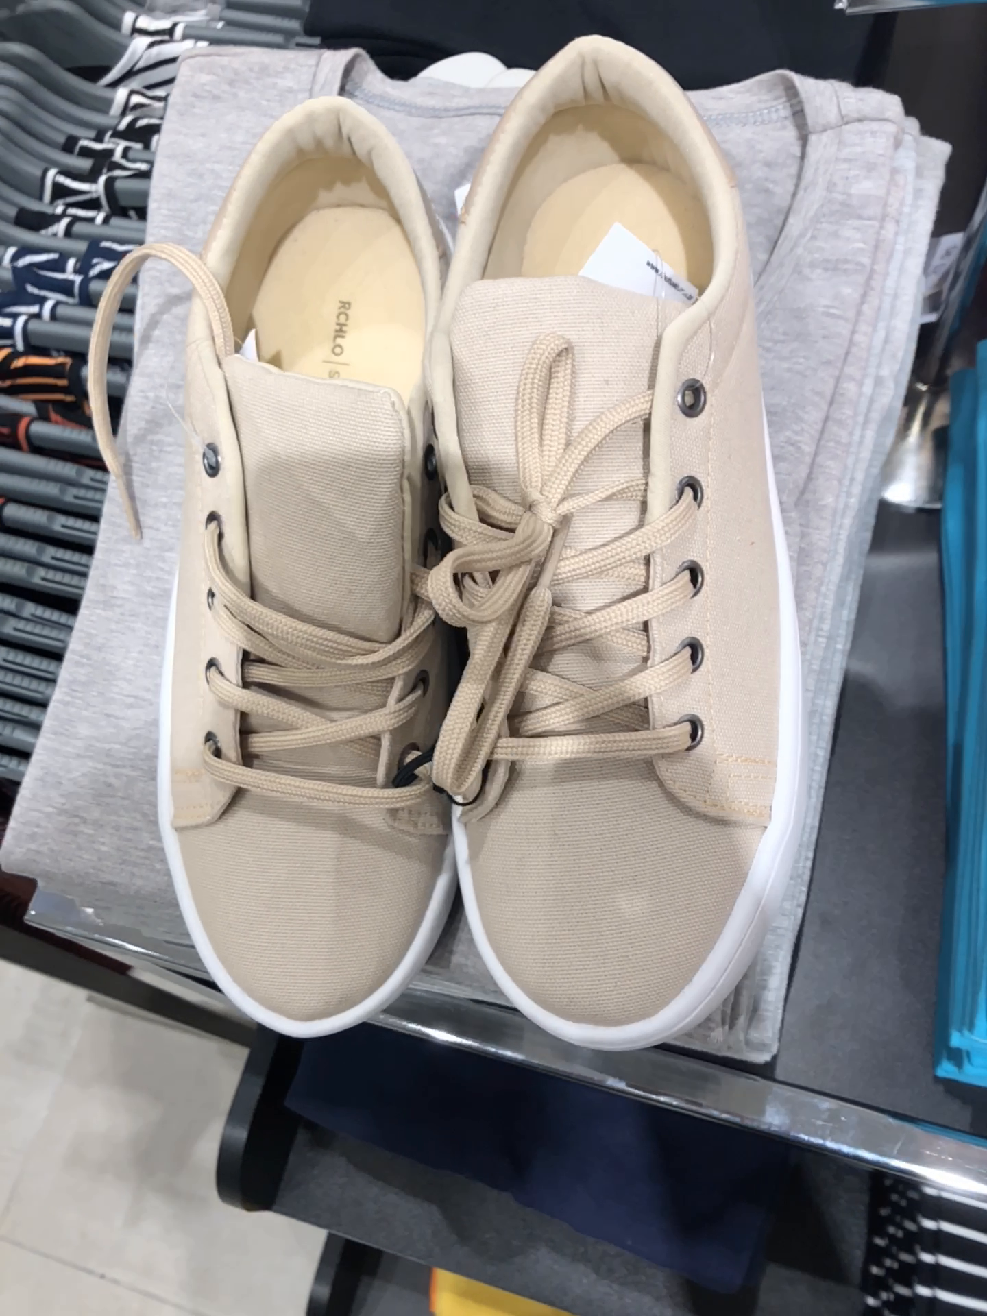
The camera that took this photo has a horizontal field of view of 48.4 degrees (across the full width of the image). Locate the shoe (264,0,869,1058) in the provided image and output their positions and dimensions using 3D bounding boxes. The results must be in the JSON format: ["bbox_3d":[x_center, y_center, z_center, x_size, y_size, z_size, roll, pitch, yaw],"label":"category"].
[{"bbox_3d":[0.029,-0.050,0.303,0.110,0.110,0.291,0,68,10],"label":"shoe"}]

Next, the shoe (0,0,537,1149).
[{"bbox_3d":[-0.050,-0.033,0.301,0.100,0.110,0.280,4,80,1],"label":"shoe"}]
